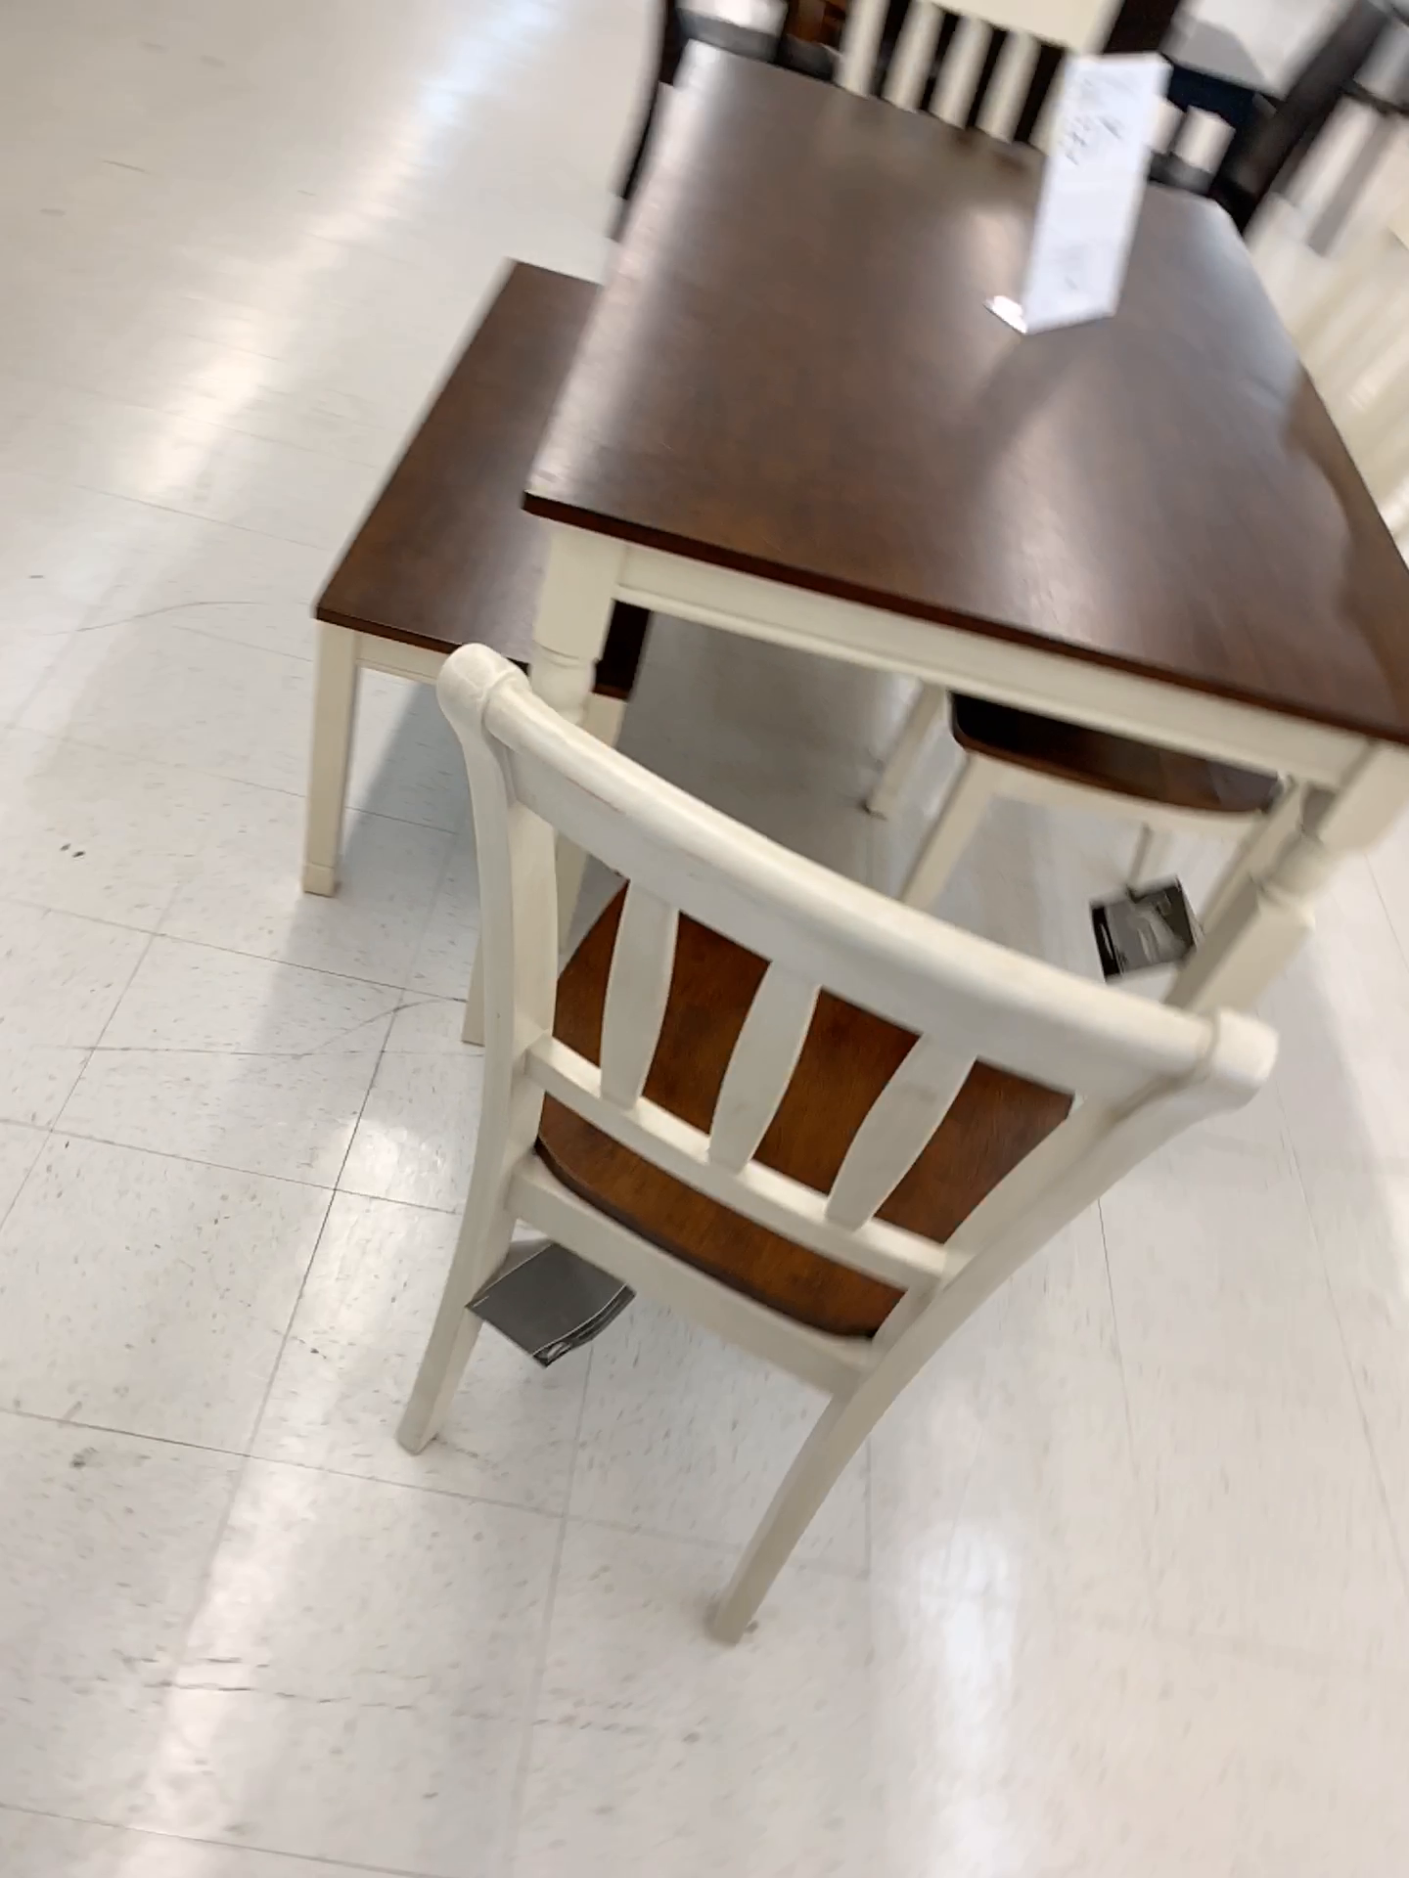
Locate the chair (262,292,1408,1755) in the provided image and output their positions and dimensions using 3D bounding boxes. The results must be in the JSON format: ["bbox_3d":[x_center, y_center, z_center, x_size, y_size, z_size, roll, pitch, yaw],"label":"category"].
[{"bbox_3d":[0.056,0.105,1.154,0.530,0.906,0.573,26,44,8],"label":"chair"}]
